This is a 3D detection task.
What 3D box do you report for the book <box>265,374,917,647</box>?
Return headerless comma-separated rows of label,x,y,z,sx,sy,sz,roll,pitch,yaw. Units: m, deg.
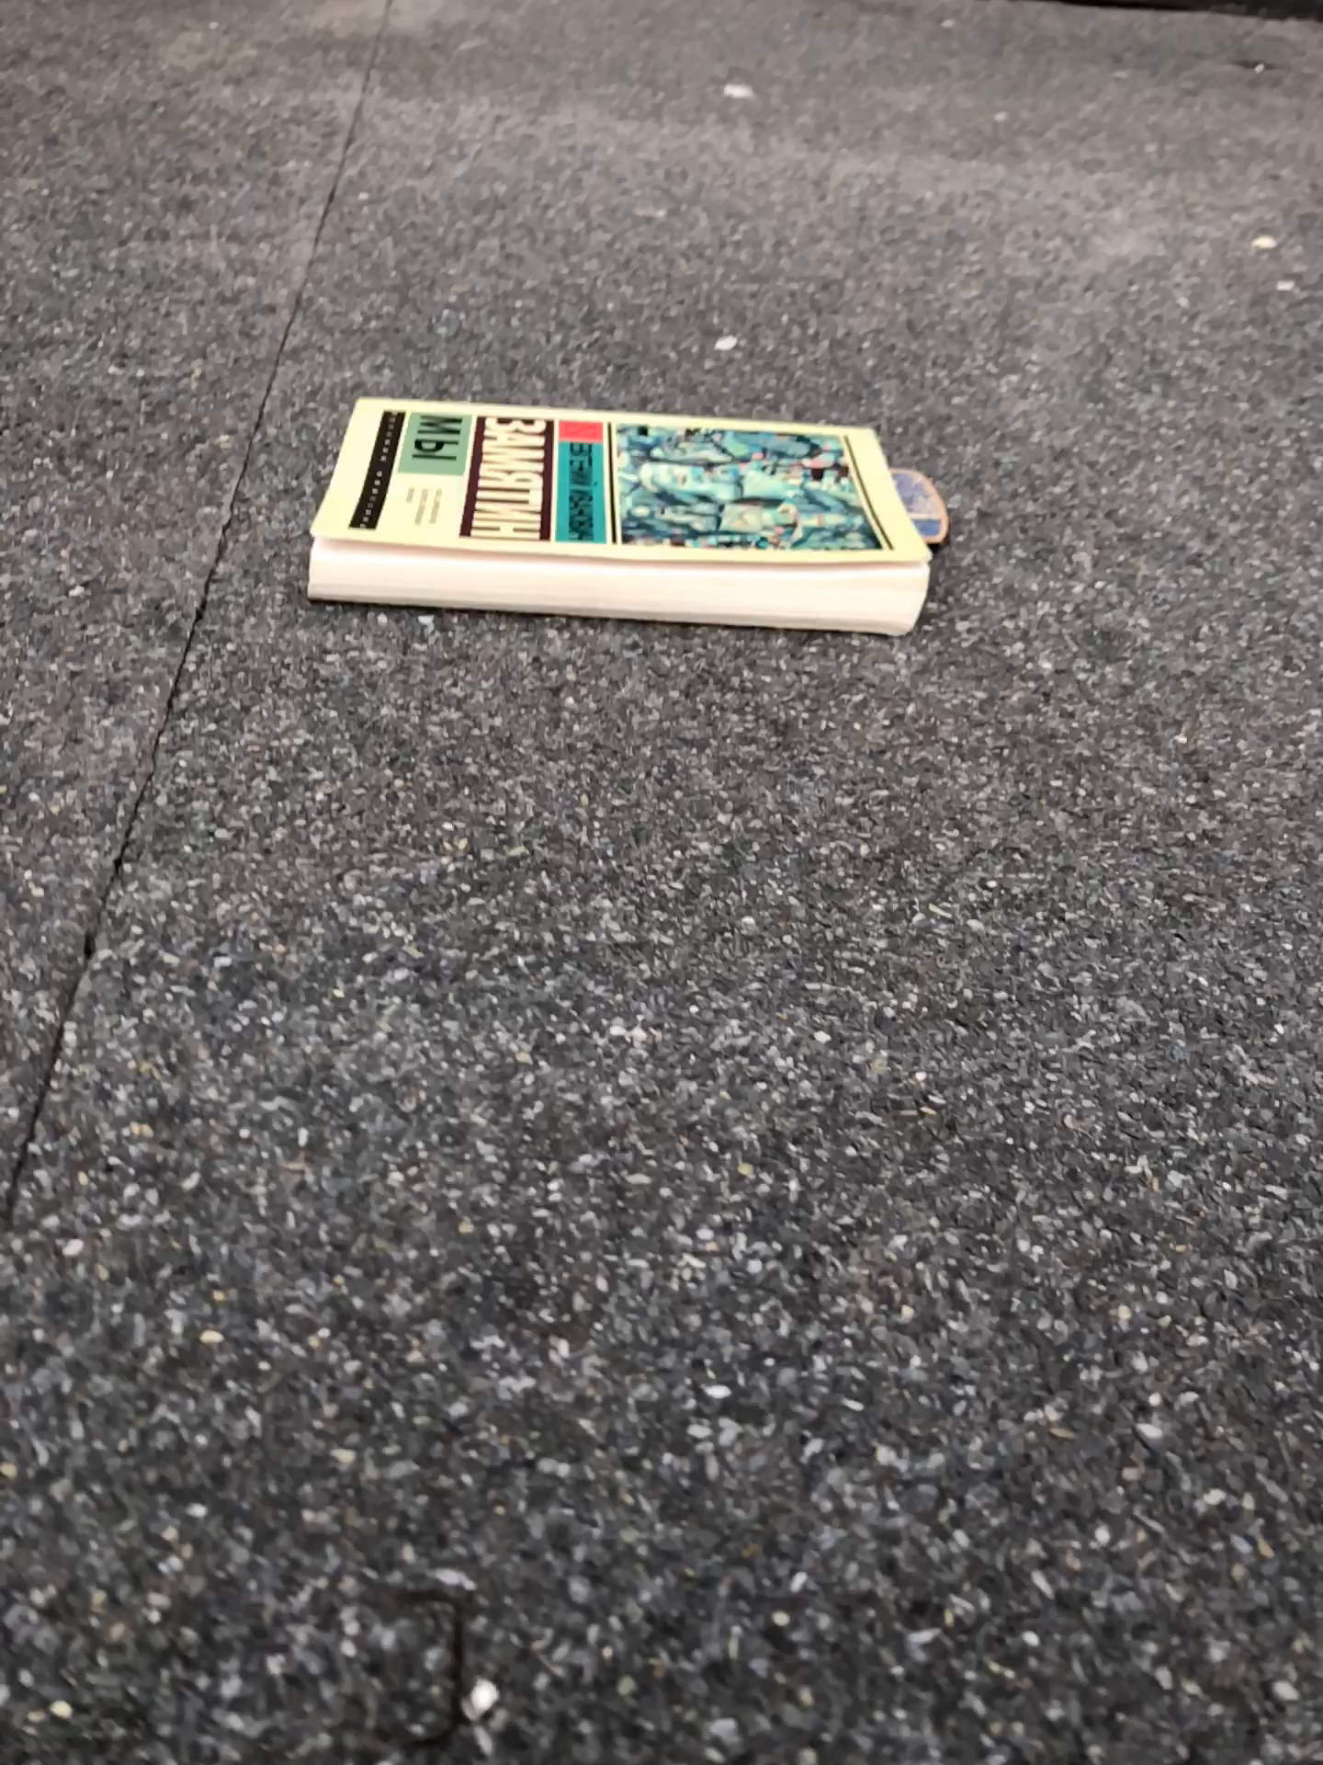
book,-0.021,-0.120,0.459,0.181,0.026,0.121,2,39,-5
